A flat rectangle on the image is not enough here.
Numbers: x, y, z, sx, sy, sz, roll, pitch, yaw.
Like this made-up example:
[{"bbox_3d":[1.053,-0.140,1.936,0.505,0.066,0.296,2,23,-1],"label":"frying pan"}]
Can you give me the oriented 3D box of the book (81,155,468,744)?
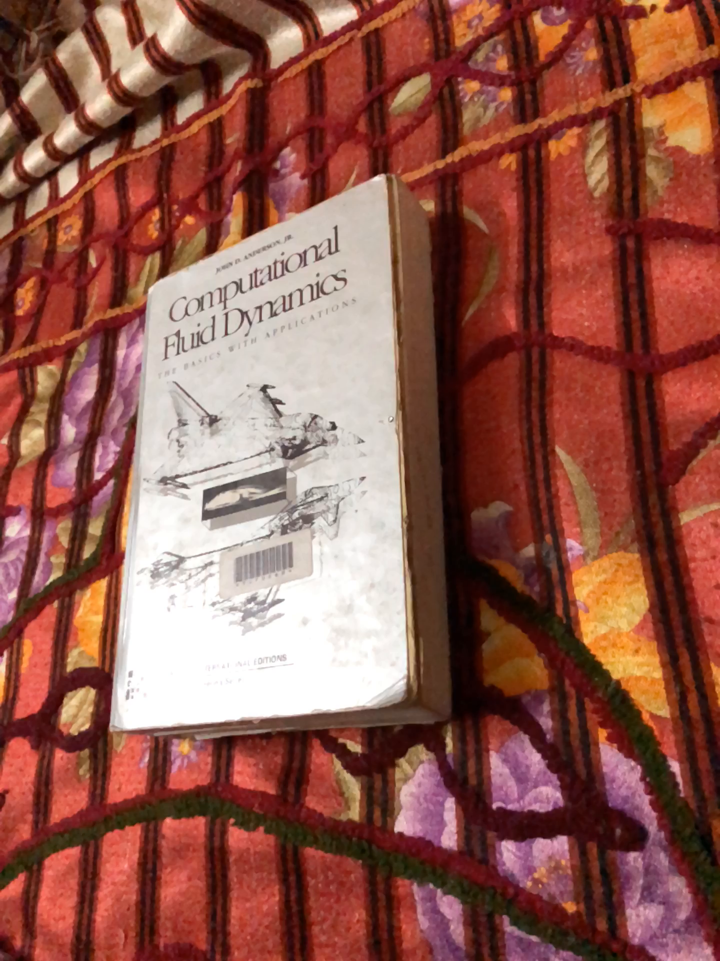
[{"bbox_3d":[-0.042,-0.007,0.358,0.159,0.046,0.229,-15,66,31],"label":"book"}]
